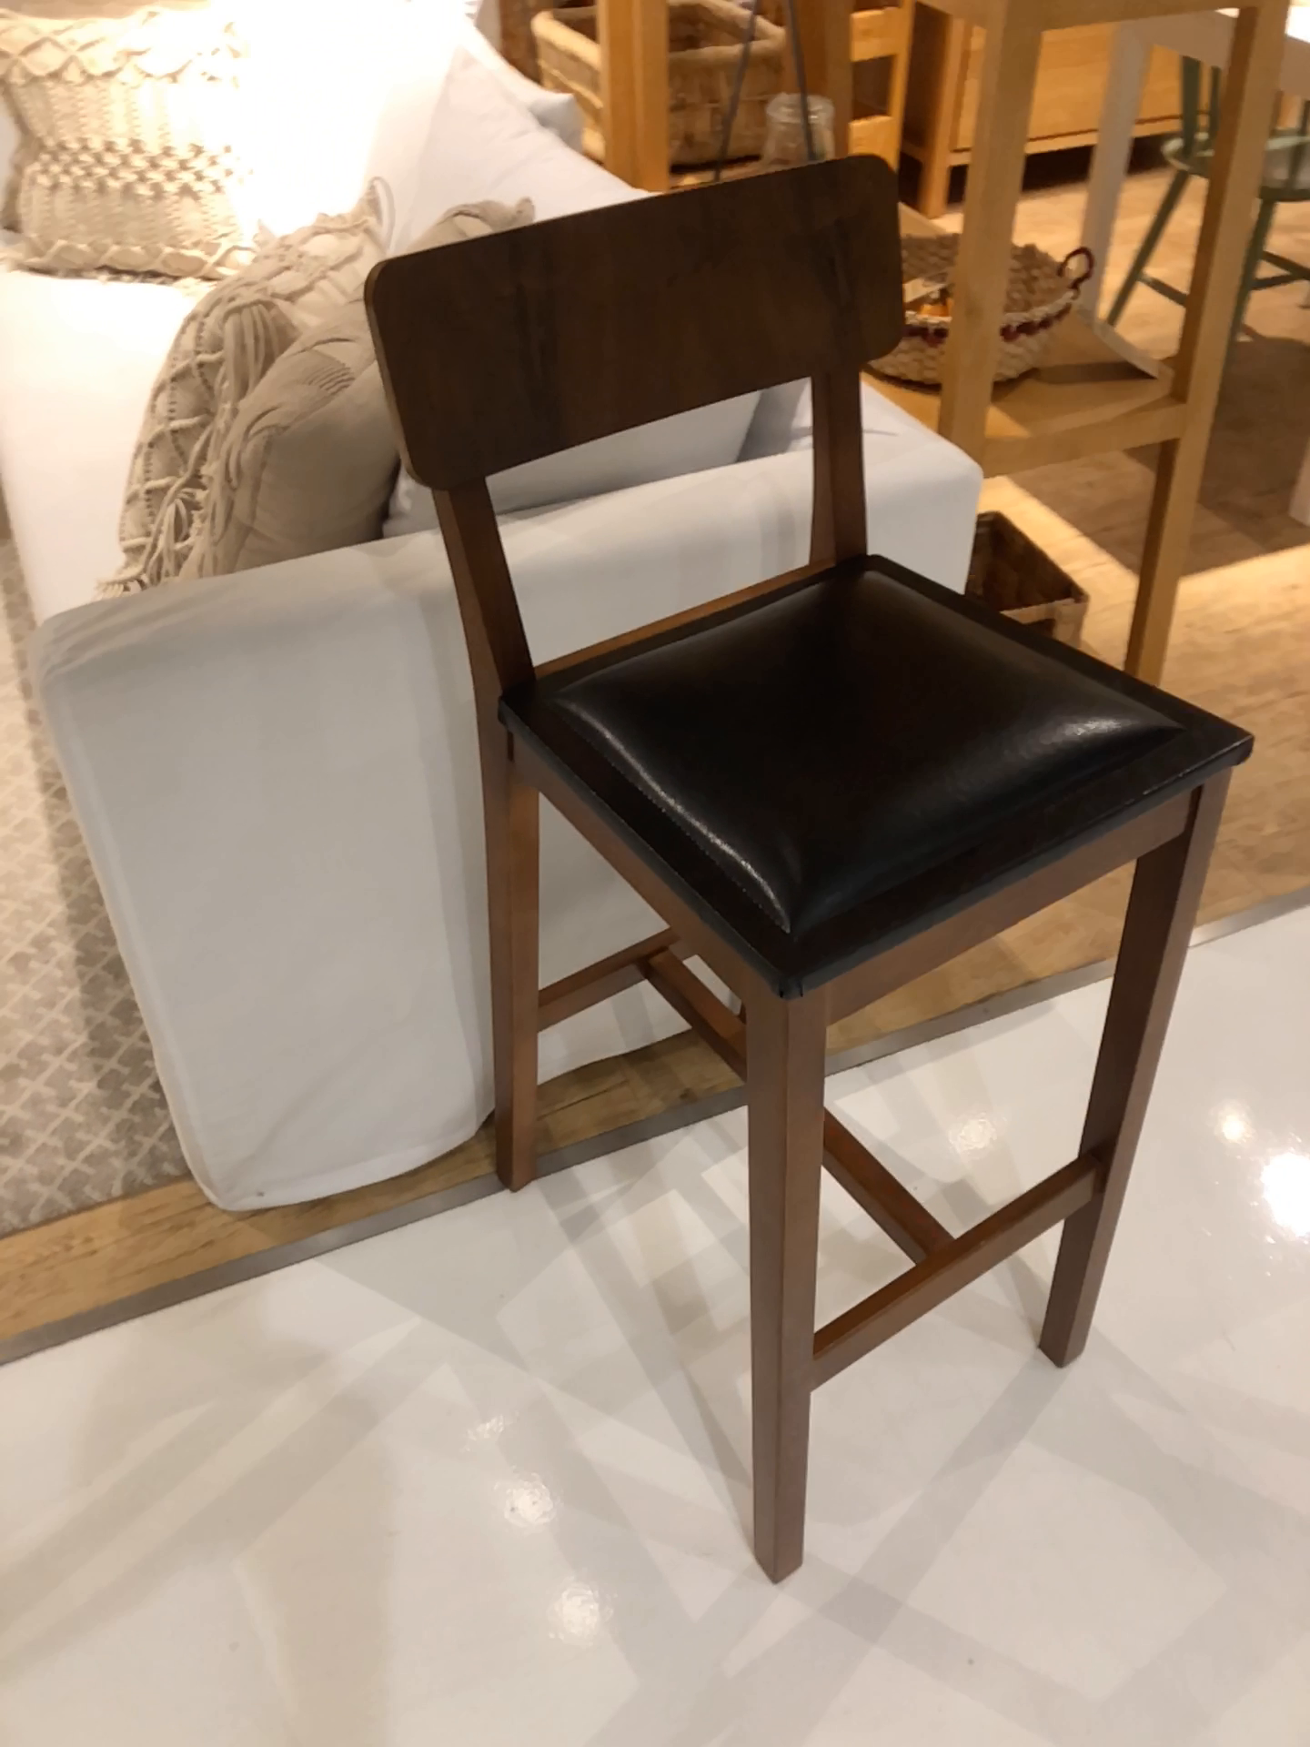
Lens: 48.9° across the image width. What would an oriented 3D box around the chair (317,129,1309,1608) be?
[{"bbox_3d":[0.122,0.036,1.177,0.441,1.003,0.532,-25,47,-25],"label":"chair"}]
